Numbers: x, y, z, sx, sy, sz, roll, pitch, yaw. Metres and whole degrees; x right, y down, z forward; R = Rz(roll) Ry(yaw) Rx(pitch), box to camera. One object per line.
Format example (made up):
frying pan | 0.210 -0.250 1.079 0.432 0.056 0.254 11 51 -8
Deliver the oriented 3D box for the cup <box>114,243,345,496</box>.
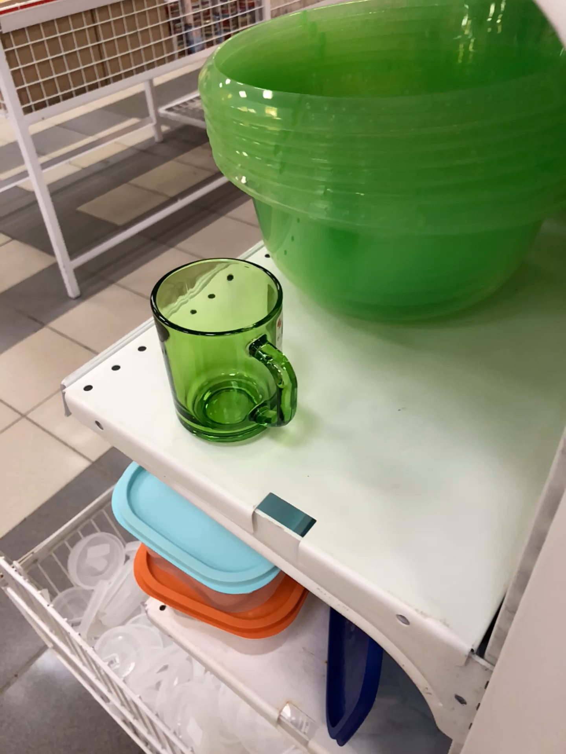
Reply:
cup | -0.029 -0.009 0.367 0.073 0.086 0.110 -34 49 -29
